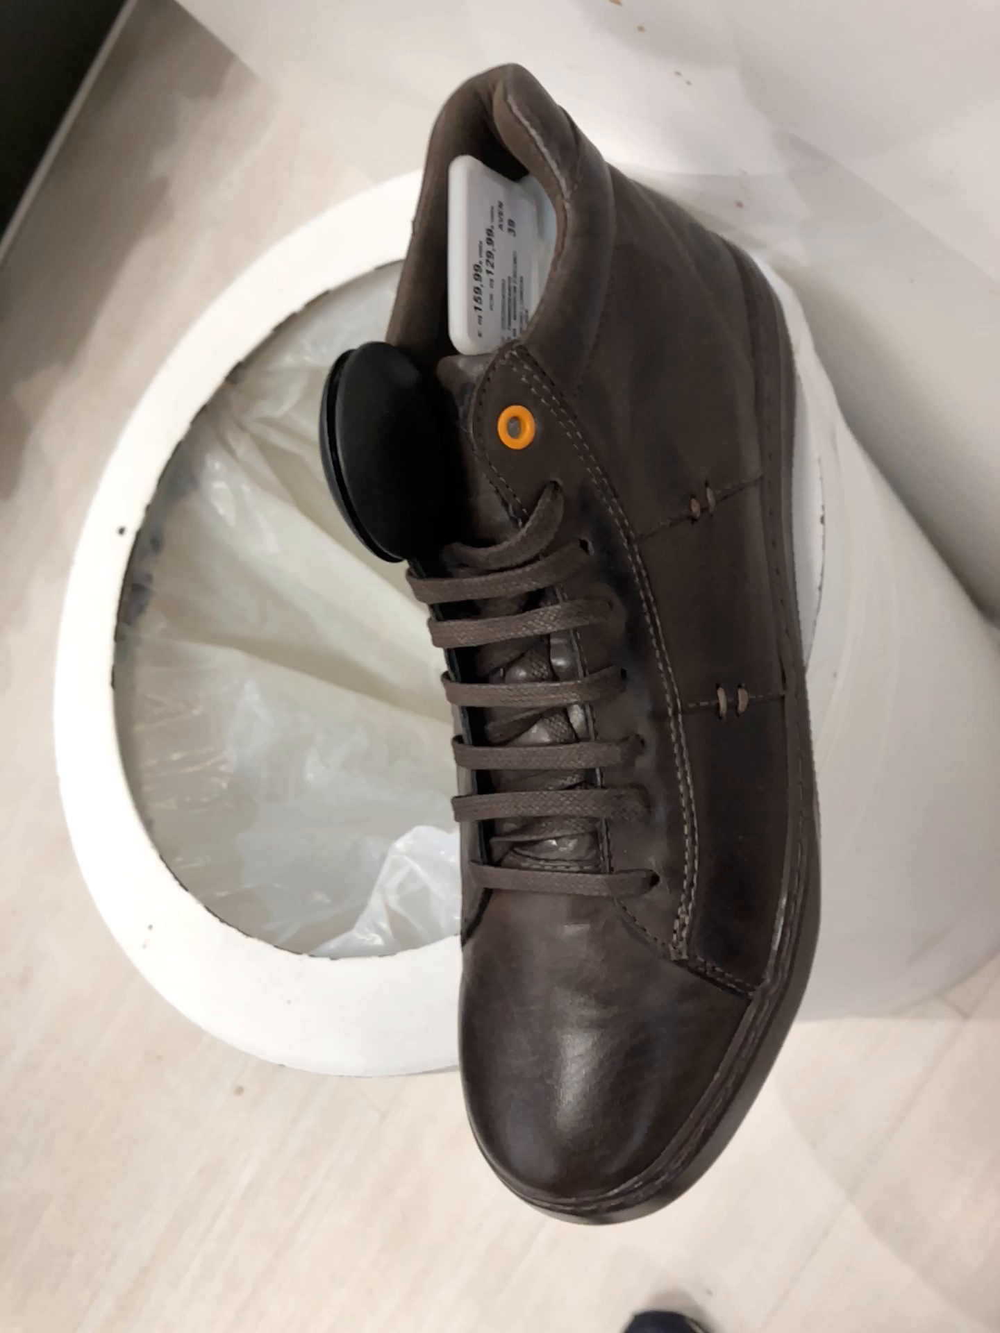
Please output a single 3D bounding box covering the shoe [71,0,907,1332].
[{"bbox_3d":[0.015,0.007,0.286,0.120,0.140,0.270,2,79,33],"label":"shoe"}]
